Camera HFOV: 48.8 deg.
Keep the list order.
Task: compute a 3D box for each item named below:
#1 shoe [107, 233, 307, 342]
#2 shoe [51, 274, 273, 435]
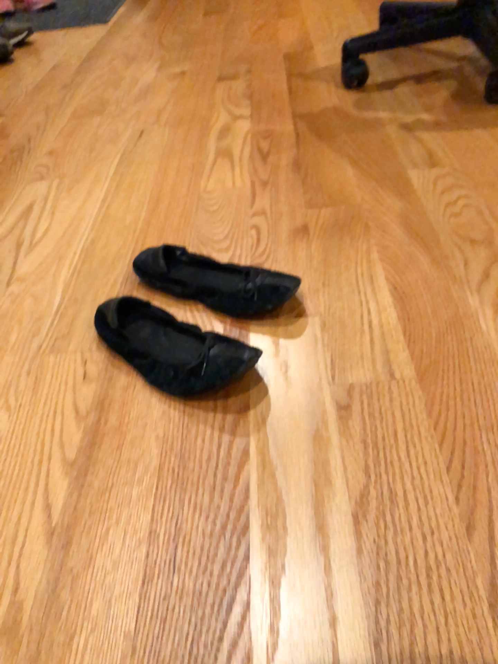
[{"bbox_3d":[-0.051,-0.060,0.663,0.220,0.046,0.093,14,45,25],"label":"shoe"},{"bbox_3d":[-0.095,0.014,0.586,0.220,0.050,0.100,22,49,31],"label":"shoe"}]
